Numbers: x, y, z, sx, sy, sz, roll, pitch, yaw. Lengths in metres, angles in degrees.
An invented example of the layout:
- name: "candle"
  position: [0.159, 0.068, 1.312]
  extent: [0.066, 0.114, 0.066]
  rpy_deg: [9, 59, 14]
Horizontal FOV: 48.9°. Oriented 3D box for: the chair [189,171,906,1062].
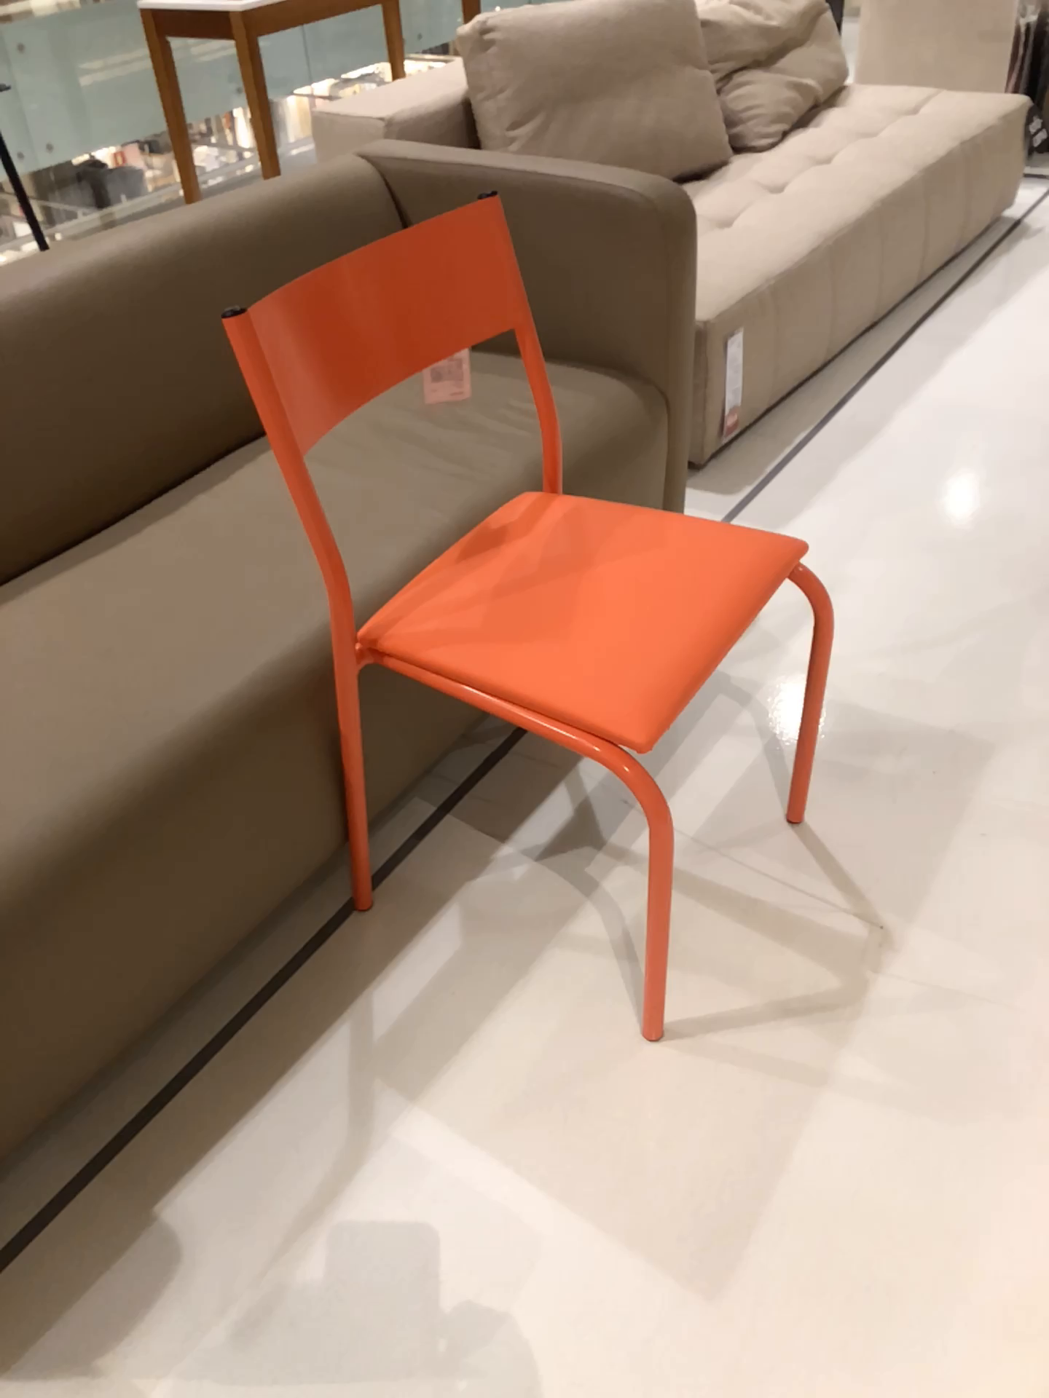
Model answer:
- name: "chair"
  position: [0.058, -0.109, 1.340]
  extent: [0.491, 0.784, 0.503]
  rpy_deg: [20, 44, 28]
